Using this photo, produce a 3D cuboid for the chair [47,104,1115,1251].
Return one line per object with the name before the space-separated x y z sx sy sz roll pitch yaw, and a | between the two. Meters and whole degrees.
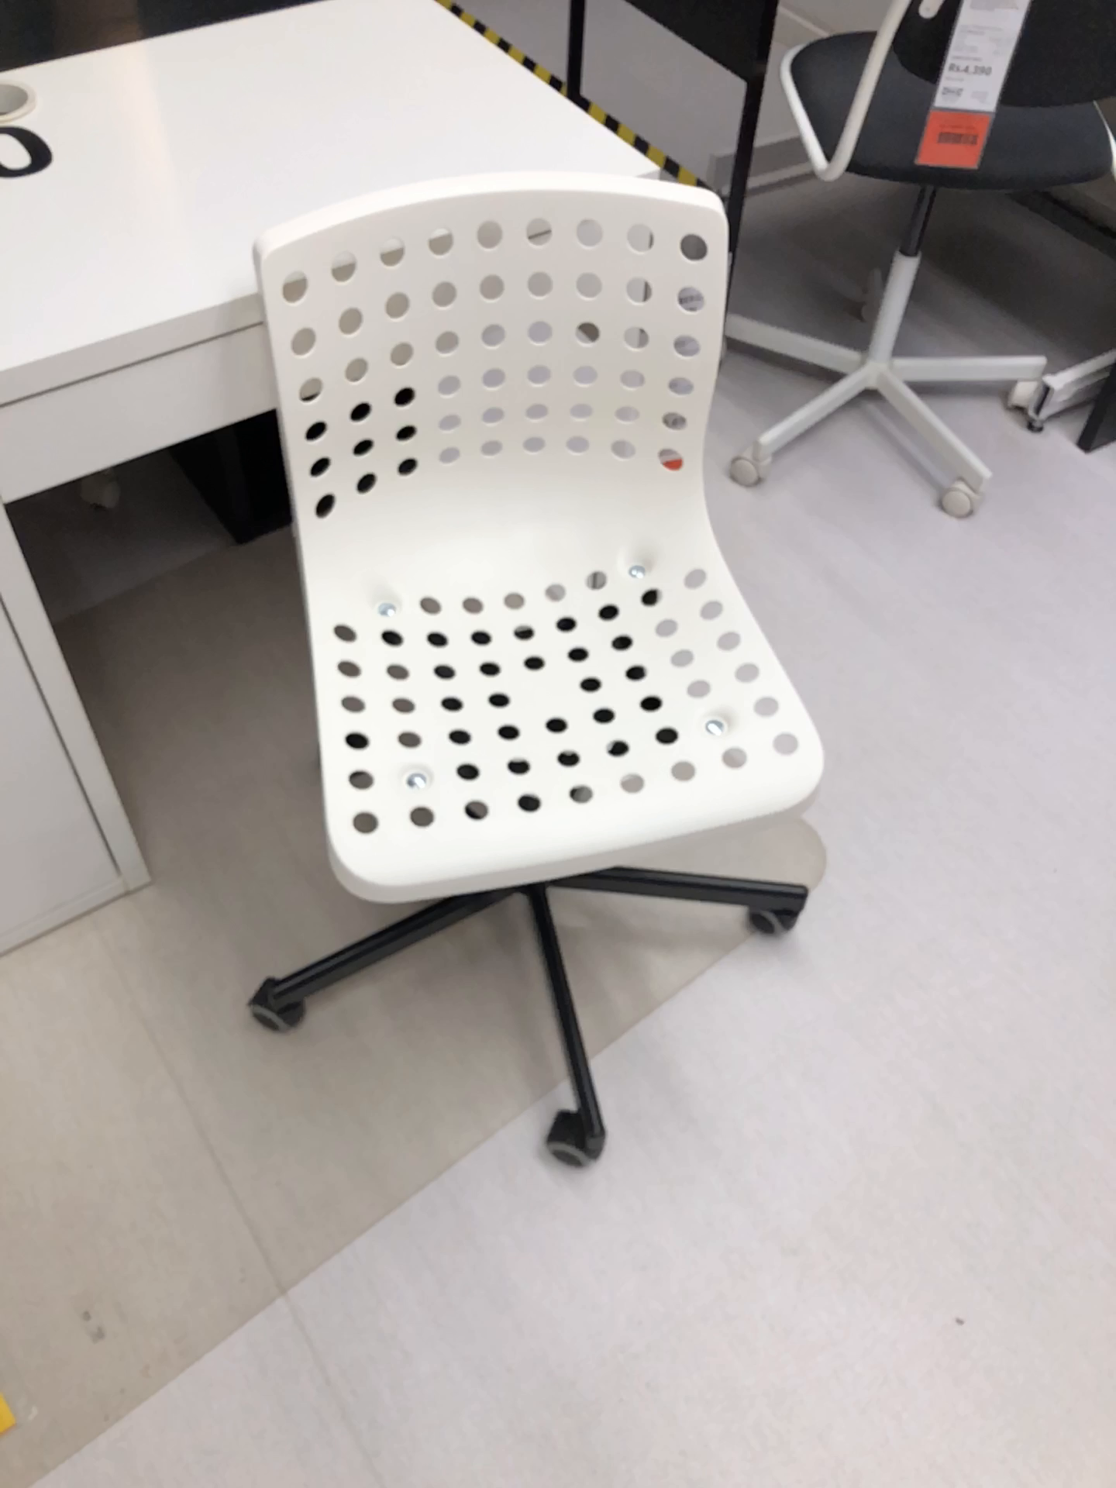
chair | -0.029 -0.051 1.163 0.670 0.746 0.654 -10 52 -11
